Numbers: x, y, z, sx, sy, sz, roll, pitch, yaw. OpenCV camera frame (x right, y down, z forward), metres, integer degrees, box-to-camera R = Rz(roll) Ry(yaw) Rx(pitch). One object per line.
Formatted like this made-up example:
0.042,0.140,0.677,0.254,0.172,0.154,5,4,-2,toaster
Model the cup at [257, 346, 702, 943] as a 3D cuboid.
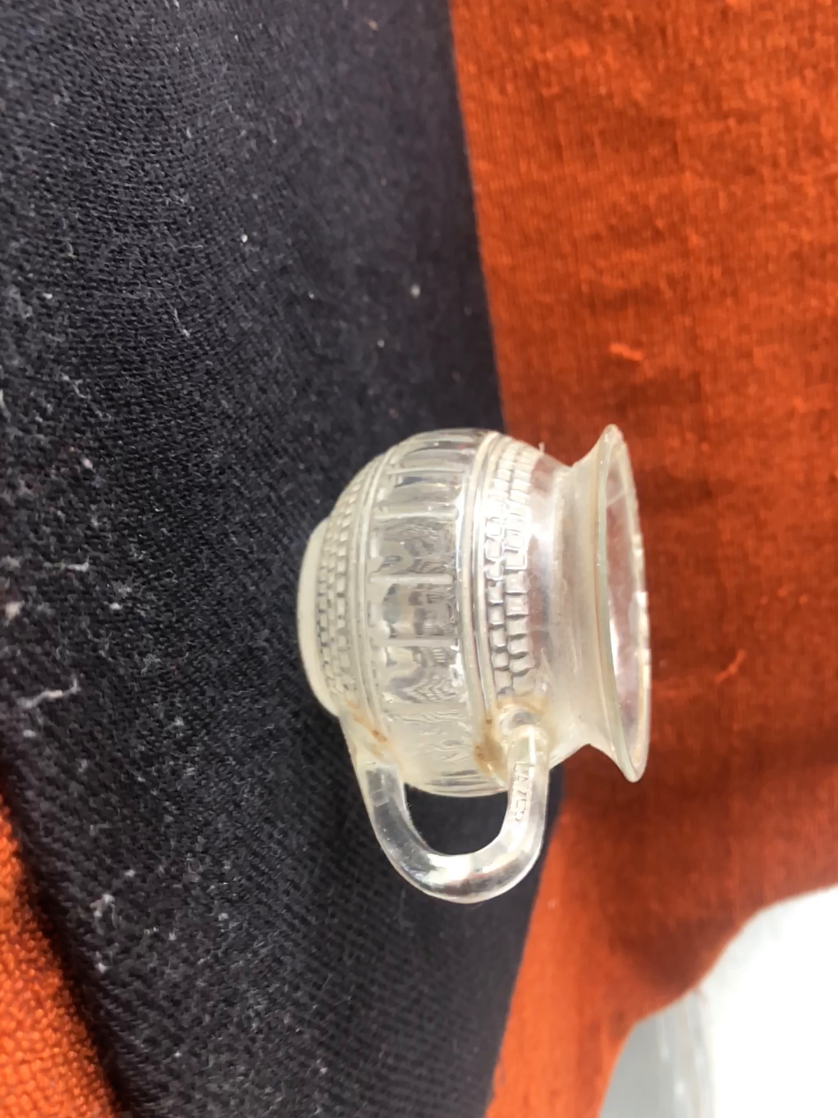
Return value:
0.018,0.022,0.181,0.070,0.060,0.090,52,38,-60,cup
